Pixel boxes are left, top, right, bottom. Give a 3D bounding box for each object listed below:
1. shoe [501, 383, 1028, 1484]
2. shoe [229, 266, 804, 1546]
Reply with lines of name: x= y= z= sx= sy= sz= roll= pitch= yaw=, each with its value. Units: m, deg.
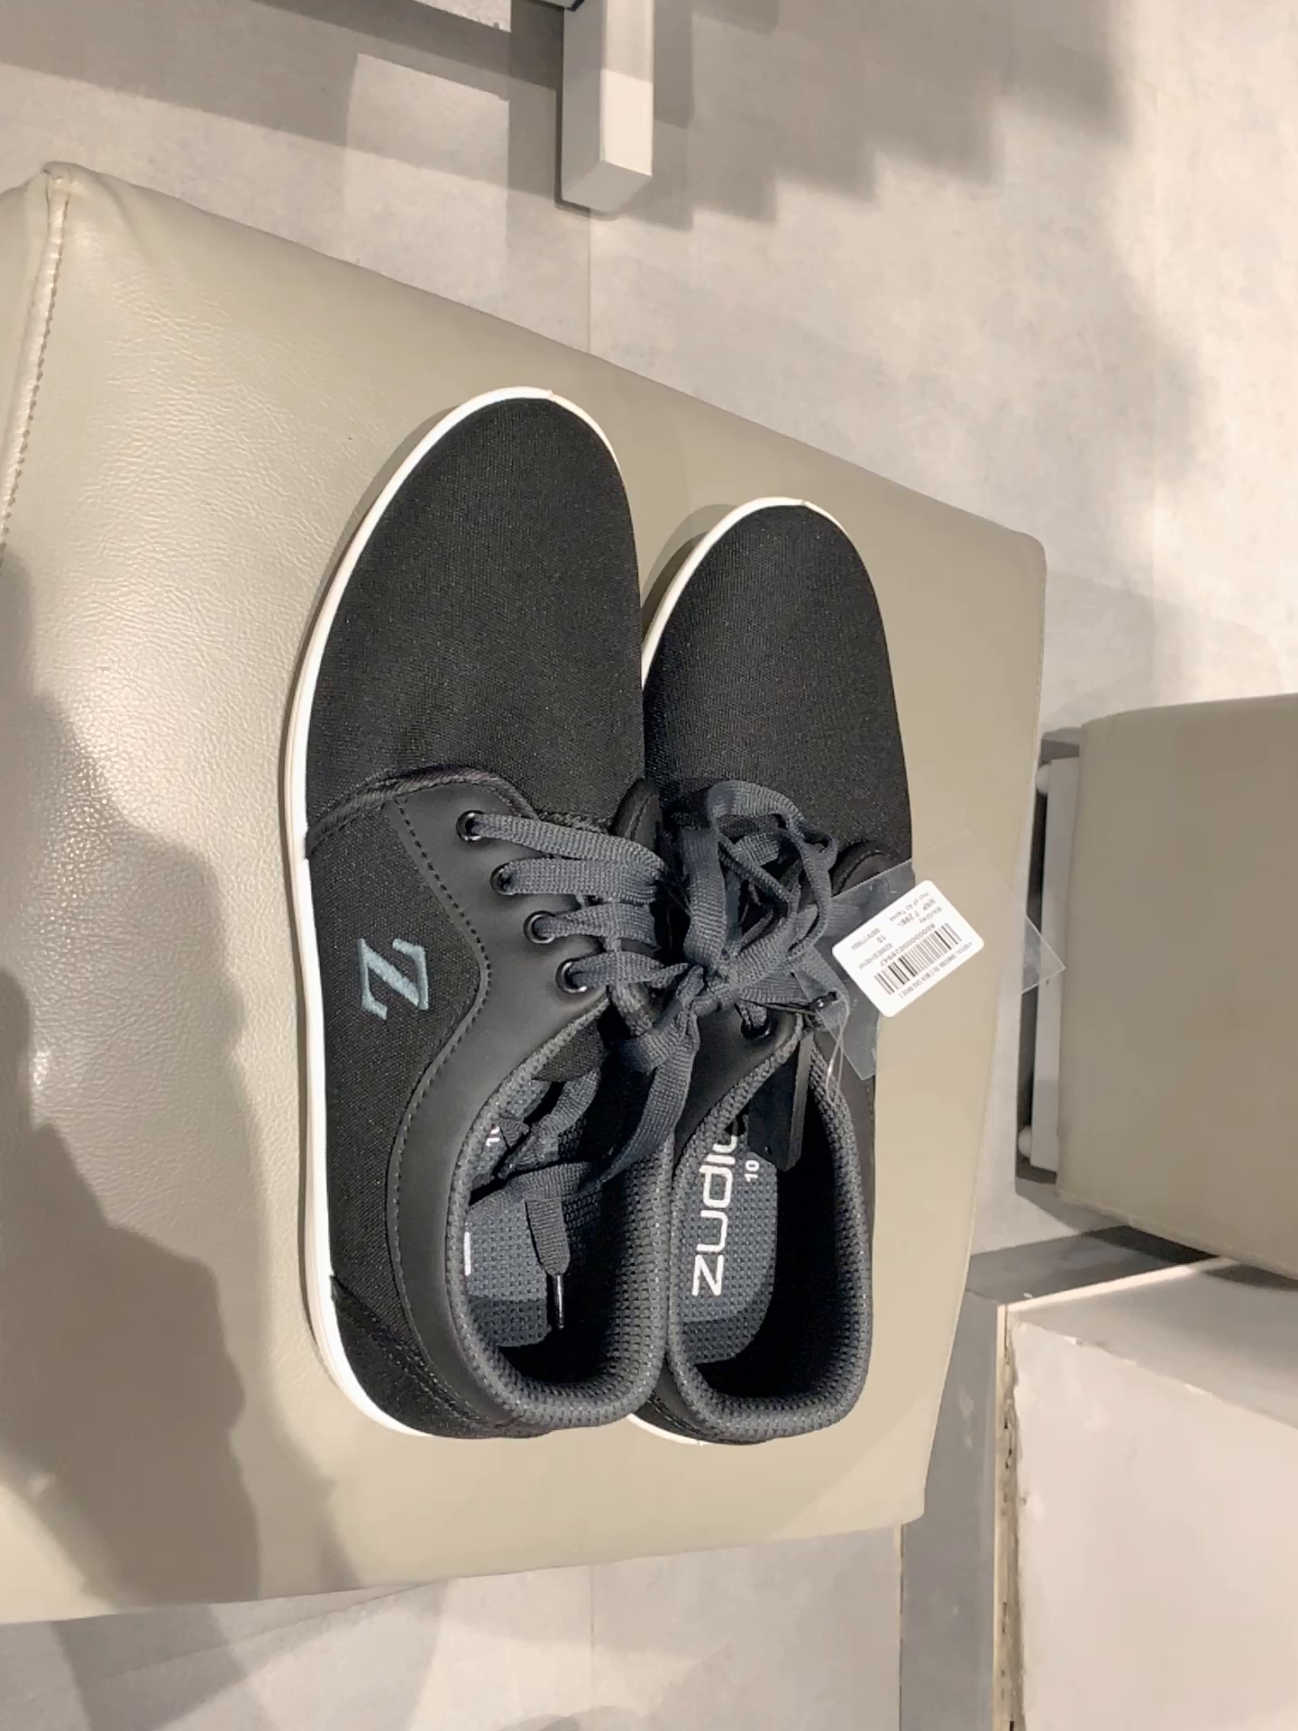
shoe: x=0.031 y=0.020 z=0.403 sx=0.100 sy=0.100 sz=0.280 roll=6 pitch=88 yaw=-24
shoe: x=-0.038 y=0.010 z=0.348 sx=0.100 sy=0.100 sz=0.270 roll=4 pitch=89 yaw=-31
